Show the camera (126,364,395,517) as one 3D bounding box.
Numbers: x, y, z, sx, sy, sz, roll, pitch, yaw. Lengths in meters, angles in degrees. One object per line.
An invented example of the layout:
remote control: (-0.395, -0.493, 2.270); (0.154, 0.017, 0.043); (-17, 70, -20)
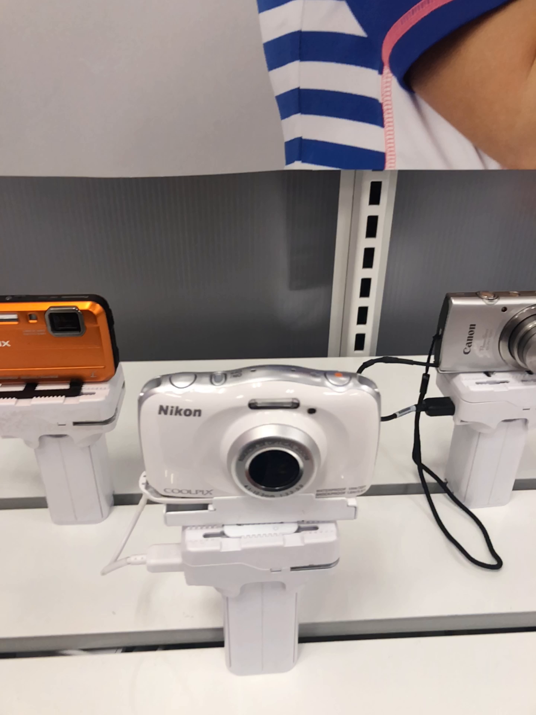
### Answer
camera: (-0.004, 0.036, 0.259); (0.105, 0.056, 0.032); (-1, 31, -3)
